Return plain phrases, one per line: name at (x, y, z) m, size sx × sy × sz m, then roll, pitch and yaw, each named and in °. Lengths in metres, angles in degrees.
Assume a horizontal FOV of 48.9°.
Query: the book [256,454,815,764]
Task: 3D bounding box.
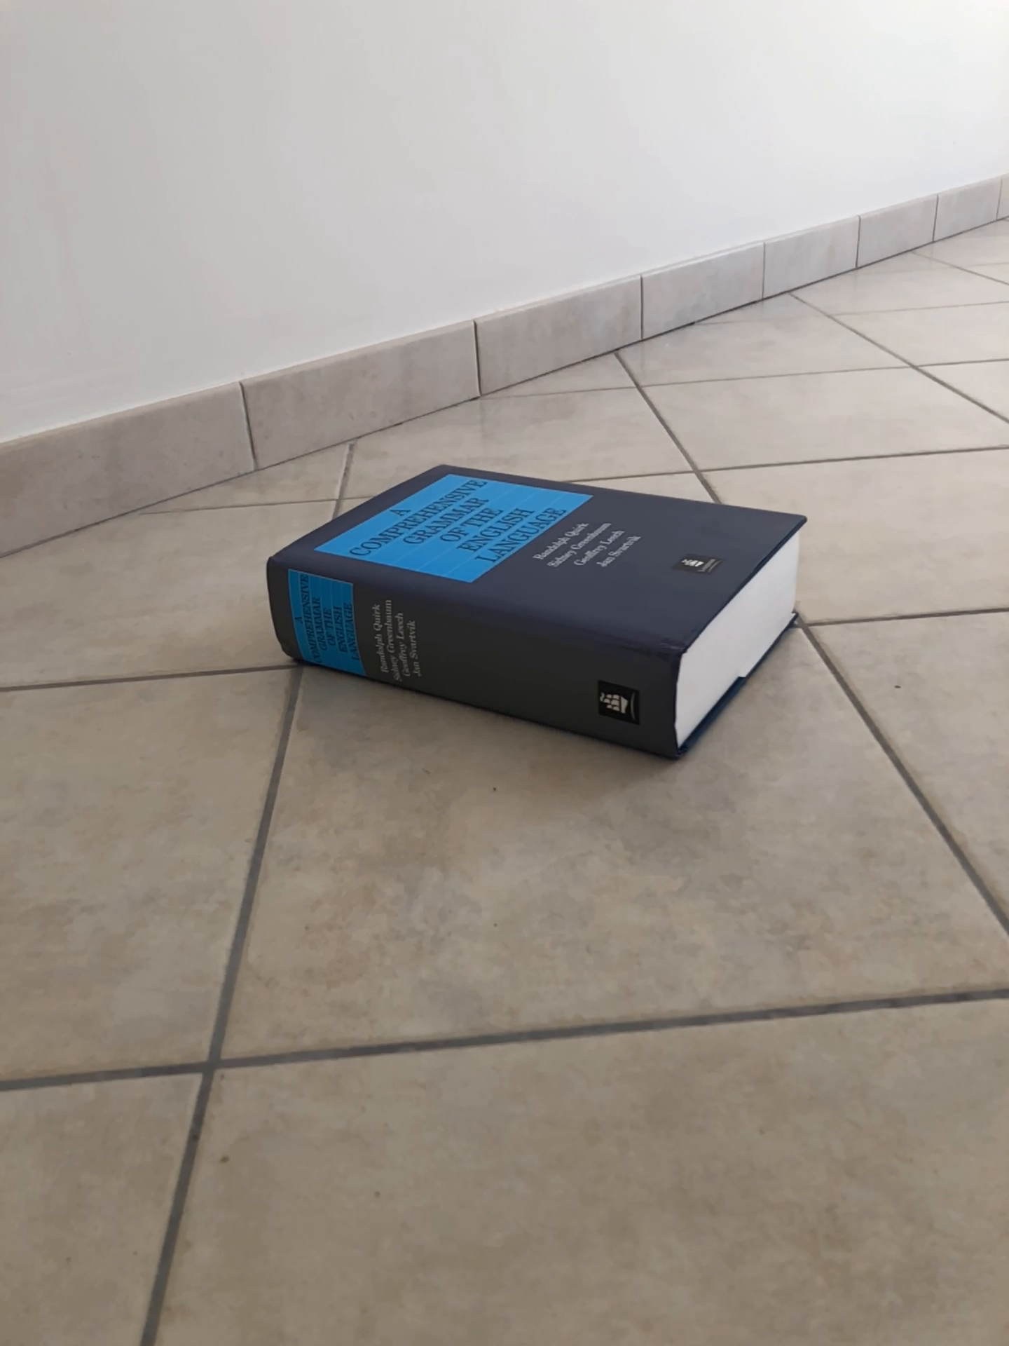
book at (0.021, -0.052, 0.634) m, size 0.256 × 0.066 × 0.181 m, roll 13°, pitch 33°, yaw 29°
